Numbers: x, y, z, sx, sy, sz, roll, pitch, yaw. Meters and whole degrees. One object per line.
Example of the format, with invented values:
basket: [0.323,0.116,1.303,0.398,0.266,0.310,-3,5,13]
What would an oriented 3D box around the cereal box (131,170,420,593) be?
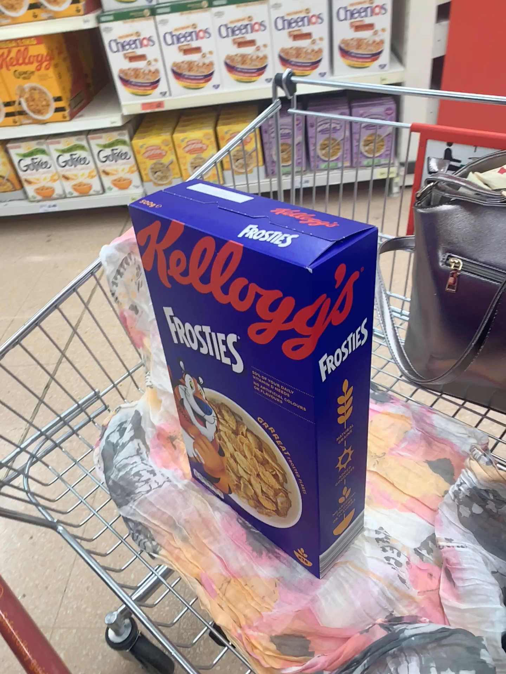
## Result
cereal box: [0.014,0.045,0.474,0.211,0.337,0.080,27,45,36]
